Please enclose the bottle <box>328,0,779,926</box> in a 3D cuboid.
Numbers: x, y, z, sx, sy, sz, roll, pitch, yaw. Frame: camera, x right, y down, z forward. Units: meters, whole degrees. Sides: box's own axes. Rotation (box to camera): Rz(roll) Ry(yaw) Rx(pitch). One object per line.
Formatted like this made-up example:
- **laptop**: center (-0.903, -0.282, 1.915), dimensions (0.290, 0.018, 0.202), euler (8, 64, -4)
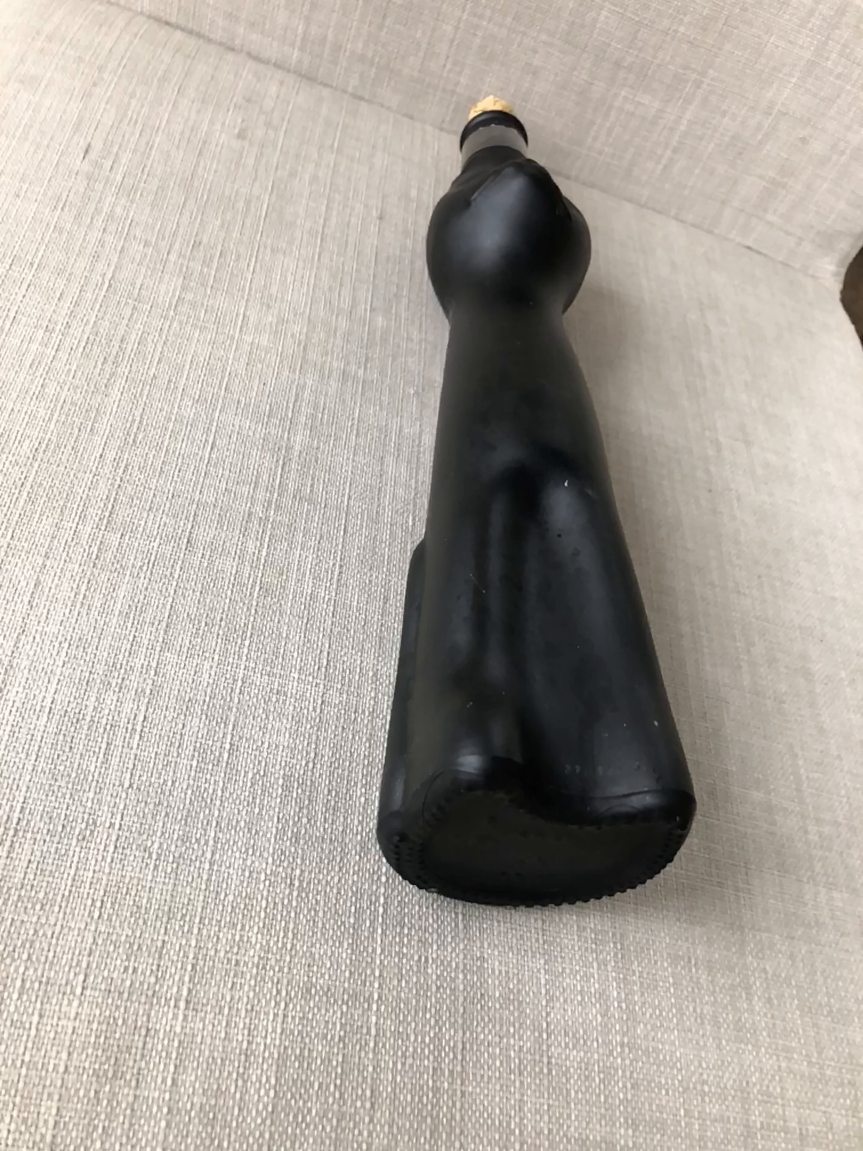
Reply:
- **bottle**: center (0.028, -0.060, 0.314), dimensions (0.078, 0.079, 0.312), euler (14, 54, -17)
